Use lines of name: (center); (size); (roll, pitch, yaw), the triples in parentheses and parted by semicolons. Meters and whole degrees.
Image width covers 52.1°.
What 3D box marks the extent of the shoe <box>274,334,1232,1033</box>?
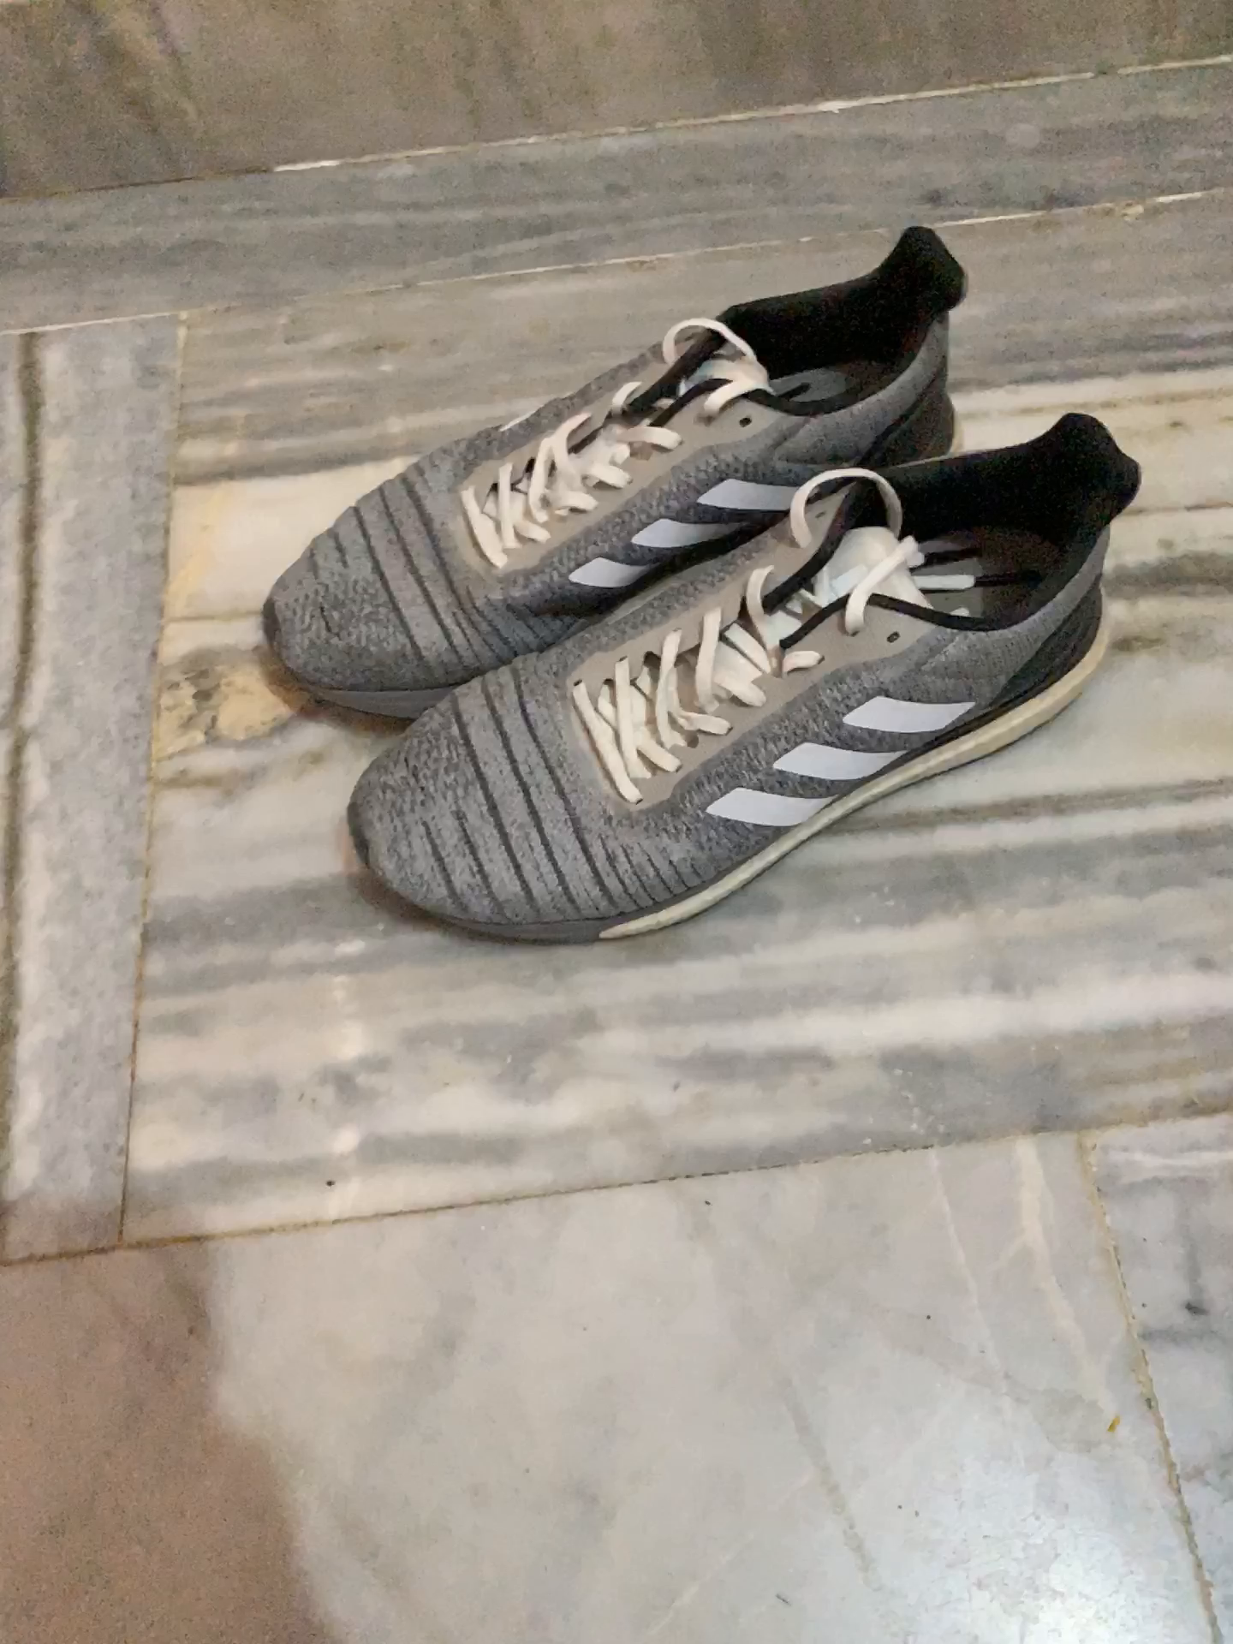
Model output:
shoe: (0.048, -0.053, 0.460); (0.300, 0.090, 0.120); (-24, 65, -10)

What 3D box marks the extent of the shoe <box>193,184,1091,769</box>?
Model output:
shoe: (0.010, -0.139, 0.498); (0.310, 0.080, 0.110); (-21, 64, -8)
